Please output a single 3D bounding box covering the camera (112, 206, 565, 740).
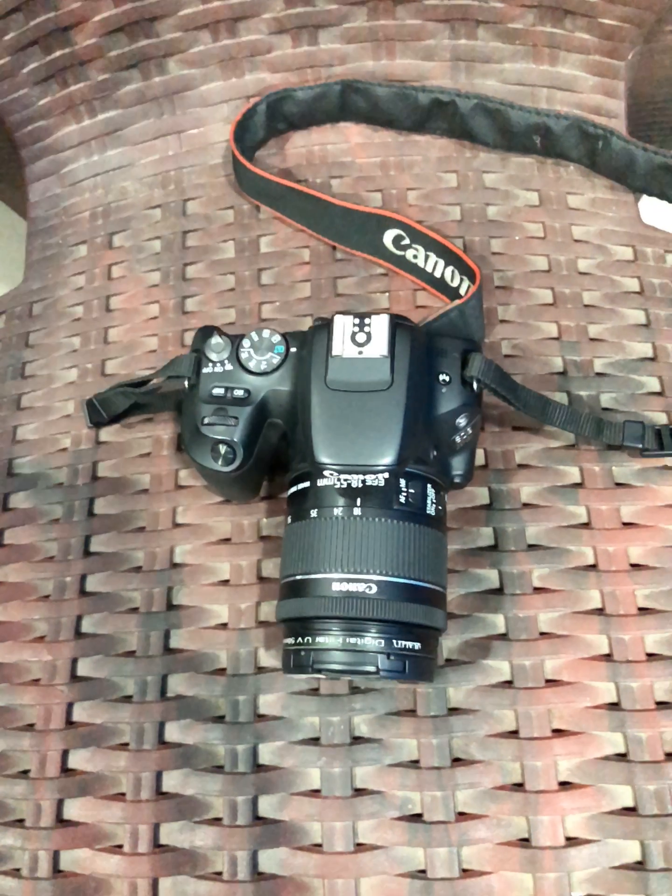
[{"bbox_3d":[0.007,0.011,0.298,0.140,0.110,0.170,1,80,7],"label":"camera"}]
